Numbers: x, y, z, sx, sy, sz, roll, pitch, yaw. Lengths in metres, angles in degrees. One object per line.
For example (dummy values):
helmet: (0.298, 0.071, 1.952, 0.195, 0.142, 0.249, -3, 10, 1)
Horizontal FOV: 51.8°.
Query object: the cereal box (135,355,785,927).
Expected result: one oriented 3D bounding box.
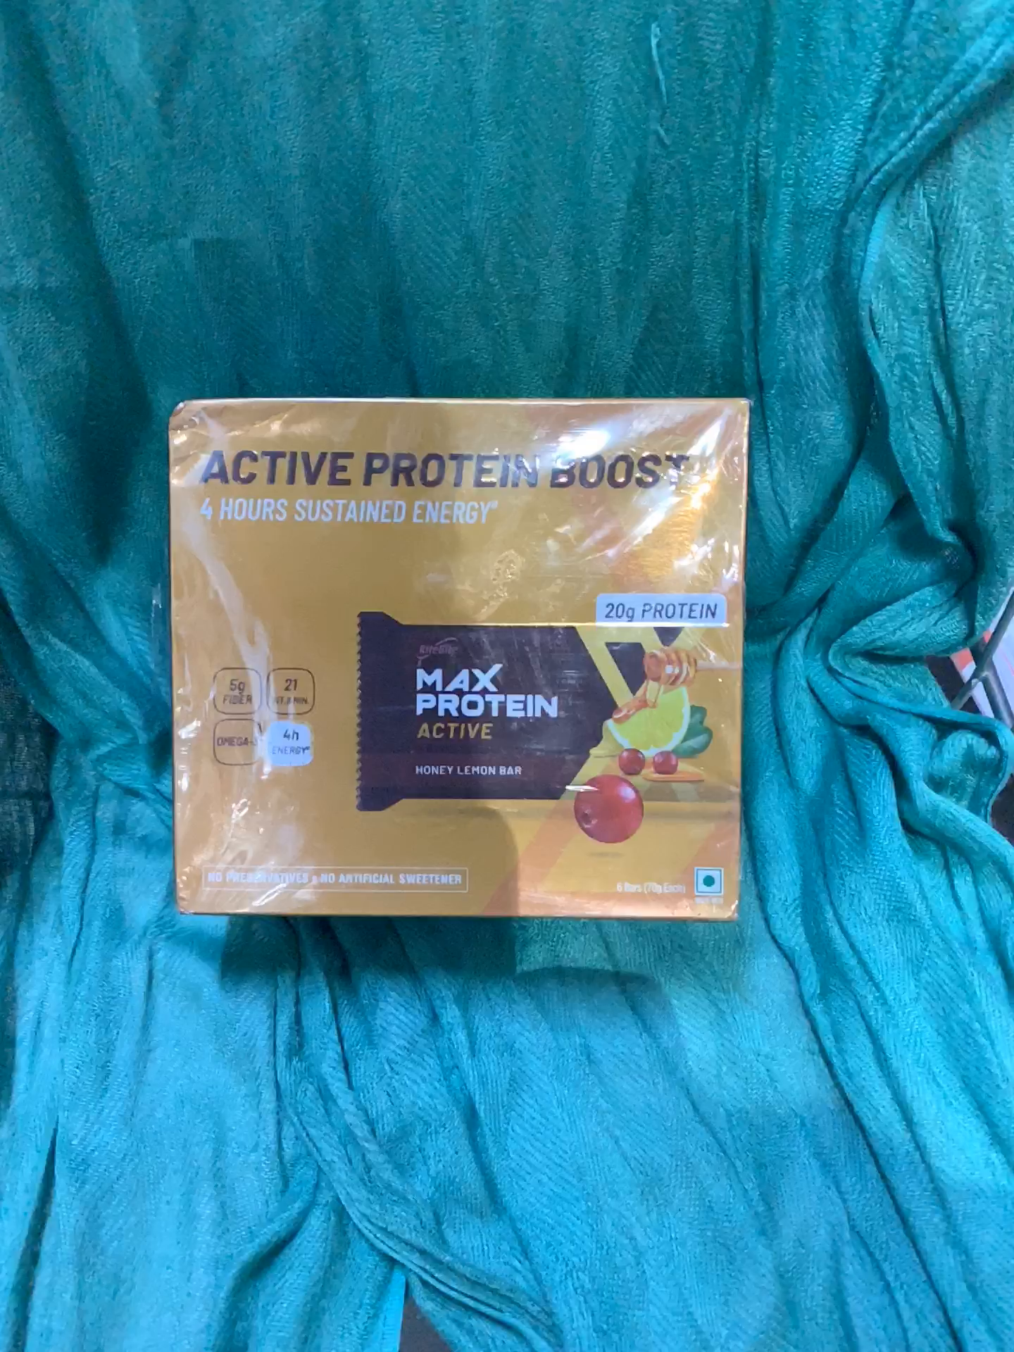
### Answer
cereal box: (-0.011, -0.008, 0.298, 0.160, 0.080, 0.140, 0, 90, 2)
